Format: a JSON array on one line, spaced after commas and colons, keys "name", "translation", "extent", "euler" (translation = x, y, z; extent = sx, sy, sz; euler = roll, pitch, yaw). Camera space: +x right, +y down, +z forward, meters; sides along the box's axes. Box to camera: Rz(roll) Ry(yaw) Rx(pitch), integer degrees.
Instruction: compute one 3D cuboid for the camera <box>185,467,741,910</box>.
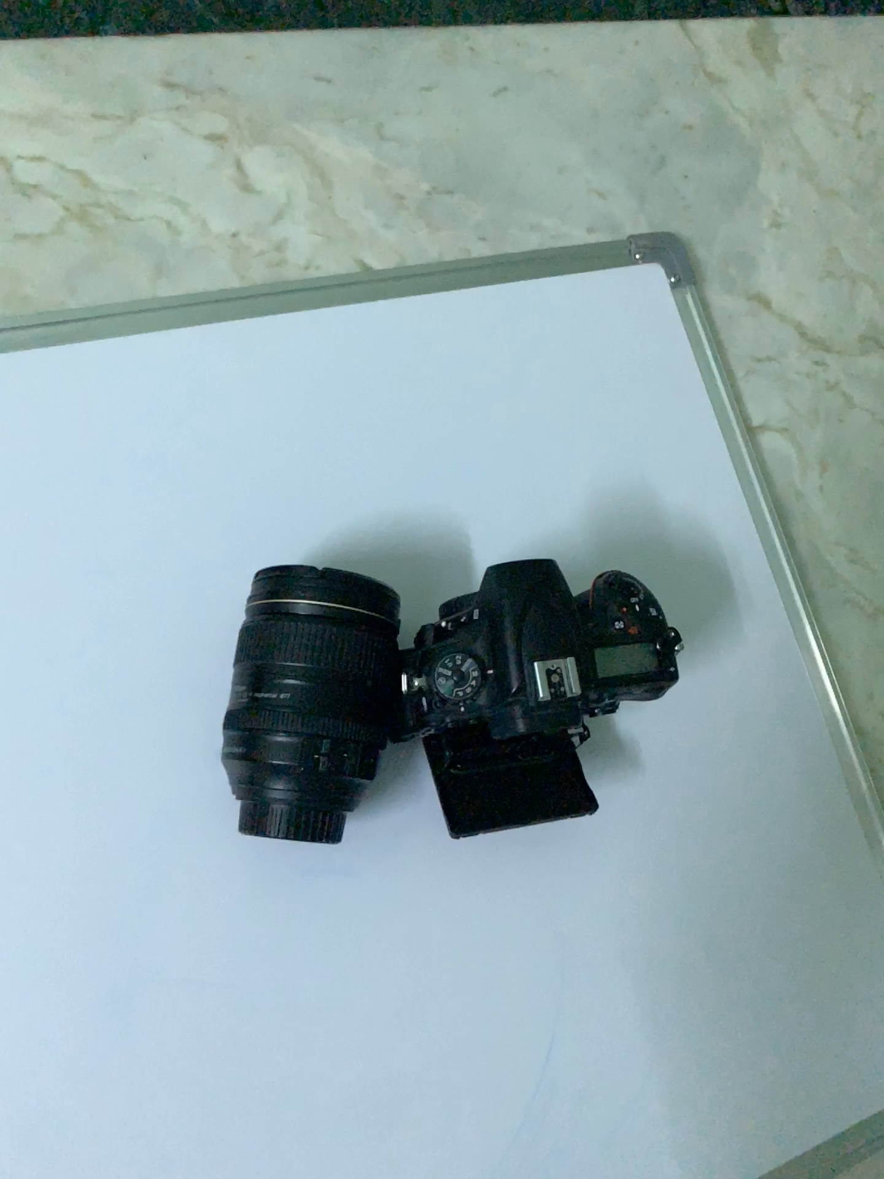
[{"name": "camera", "translation": [0.004, 0.046, 0.473], "extent": [0.240, 0.100, 0.160], "euler": [-11, 80, -18]}]
